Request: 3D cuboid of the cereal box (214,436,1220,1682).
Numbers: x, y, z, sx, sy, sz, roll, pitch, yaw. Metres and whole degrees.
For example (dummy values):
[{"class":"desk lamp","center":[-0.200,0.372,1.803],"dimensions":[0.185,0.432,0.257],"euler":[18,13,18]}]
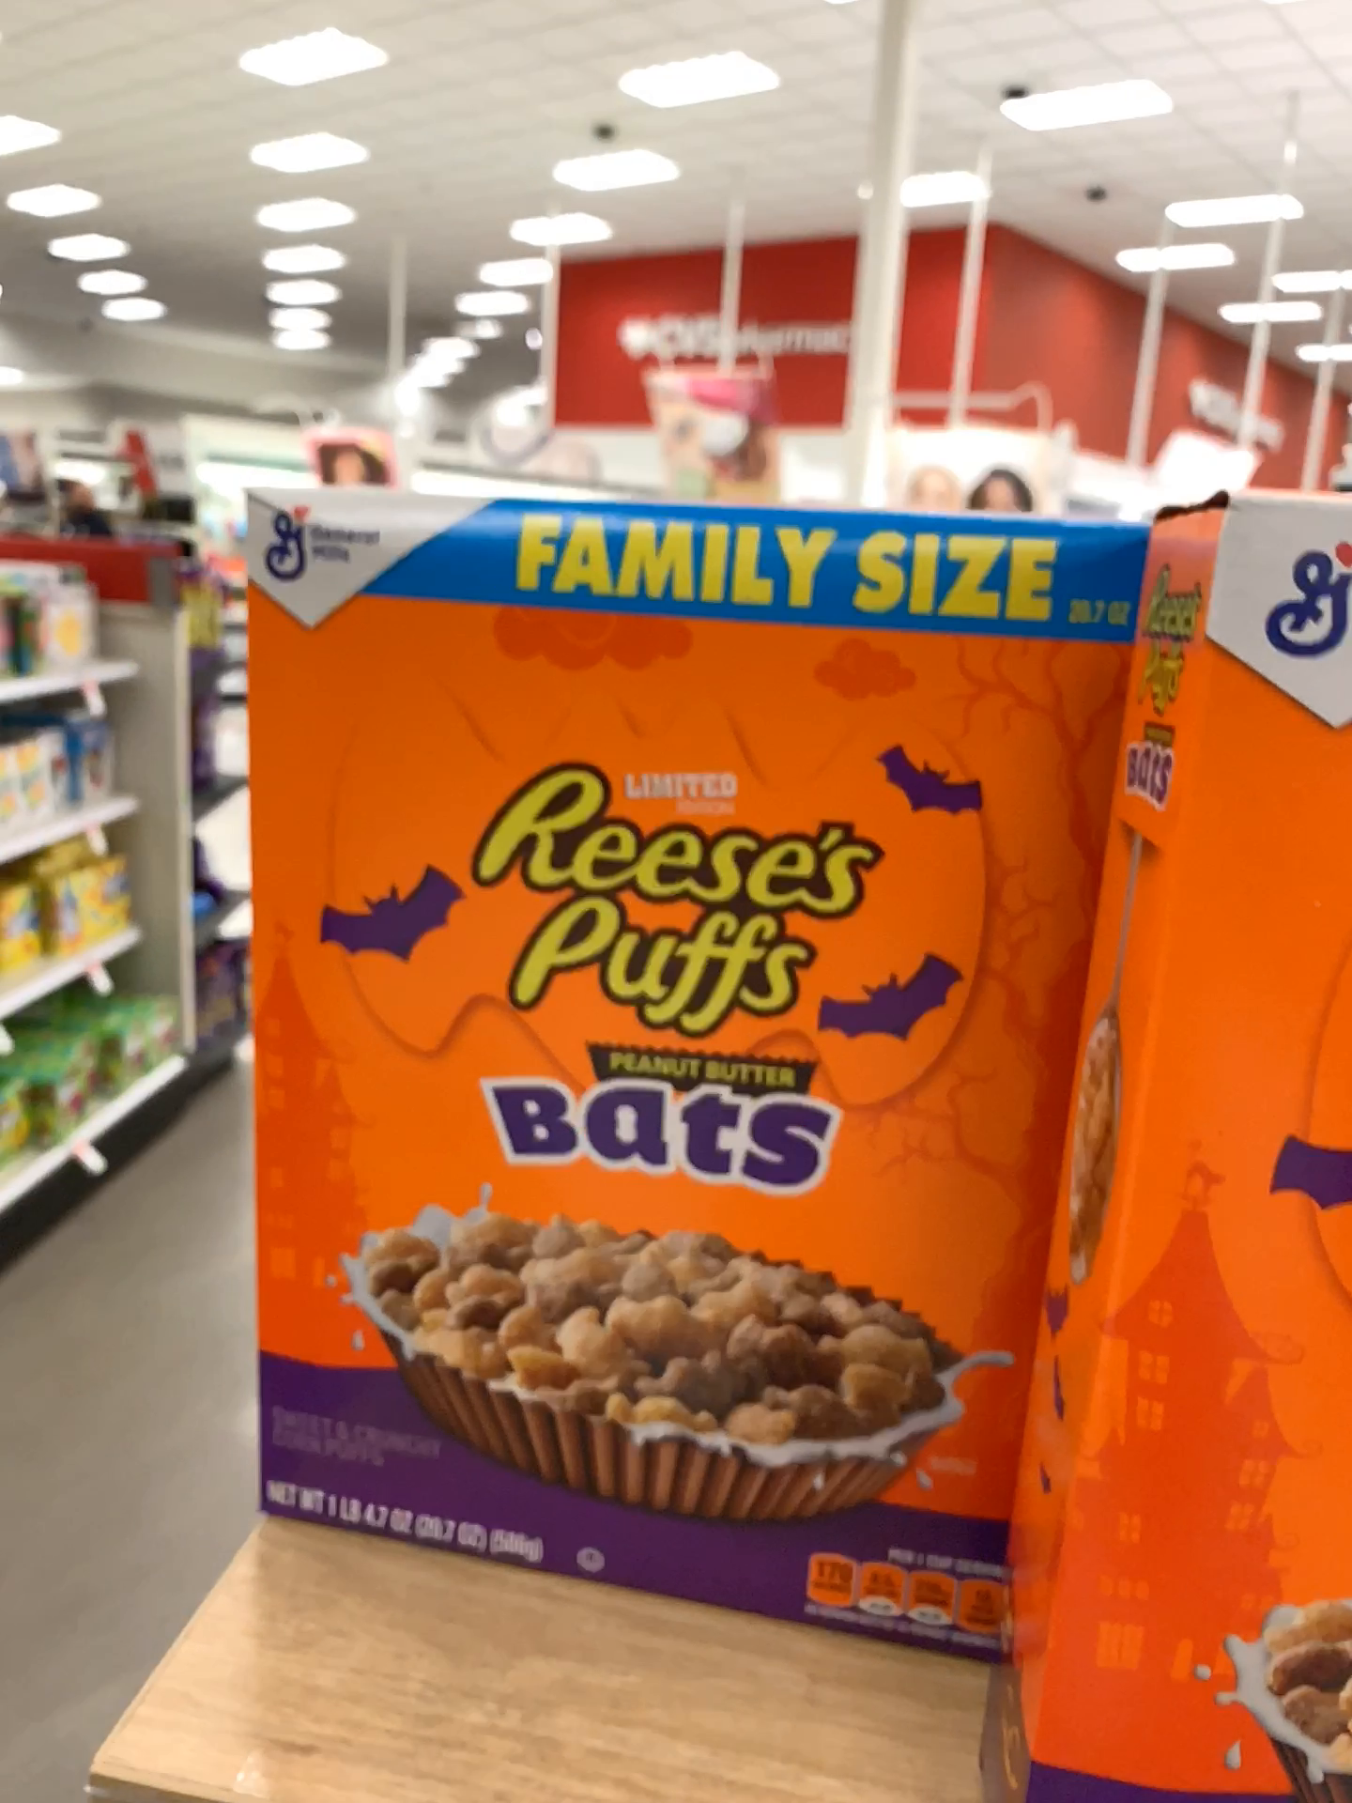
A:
[{"class":"cereal box","center":[-0.001,0.039,0.400],"dimensions":[0.240,0.309,0.070],"euler":[6,14,11]}]
